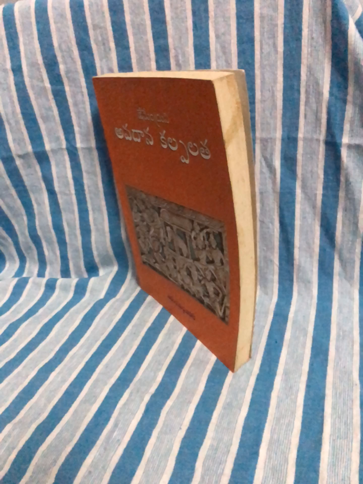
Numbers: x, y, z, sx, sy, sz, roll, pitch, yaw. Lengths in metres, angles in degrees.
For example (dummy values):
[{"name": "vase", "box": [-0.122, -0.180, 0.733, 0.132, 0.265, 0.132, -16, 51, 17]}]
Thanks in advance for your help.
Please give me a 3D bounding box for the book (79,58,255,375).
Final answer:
[{"name": "book", "box": [-0.014, -0.029, 0.345, 0.030, 0.229, 0.180, -23, 31, -27]}]
